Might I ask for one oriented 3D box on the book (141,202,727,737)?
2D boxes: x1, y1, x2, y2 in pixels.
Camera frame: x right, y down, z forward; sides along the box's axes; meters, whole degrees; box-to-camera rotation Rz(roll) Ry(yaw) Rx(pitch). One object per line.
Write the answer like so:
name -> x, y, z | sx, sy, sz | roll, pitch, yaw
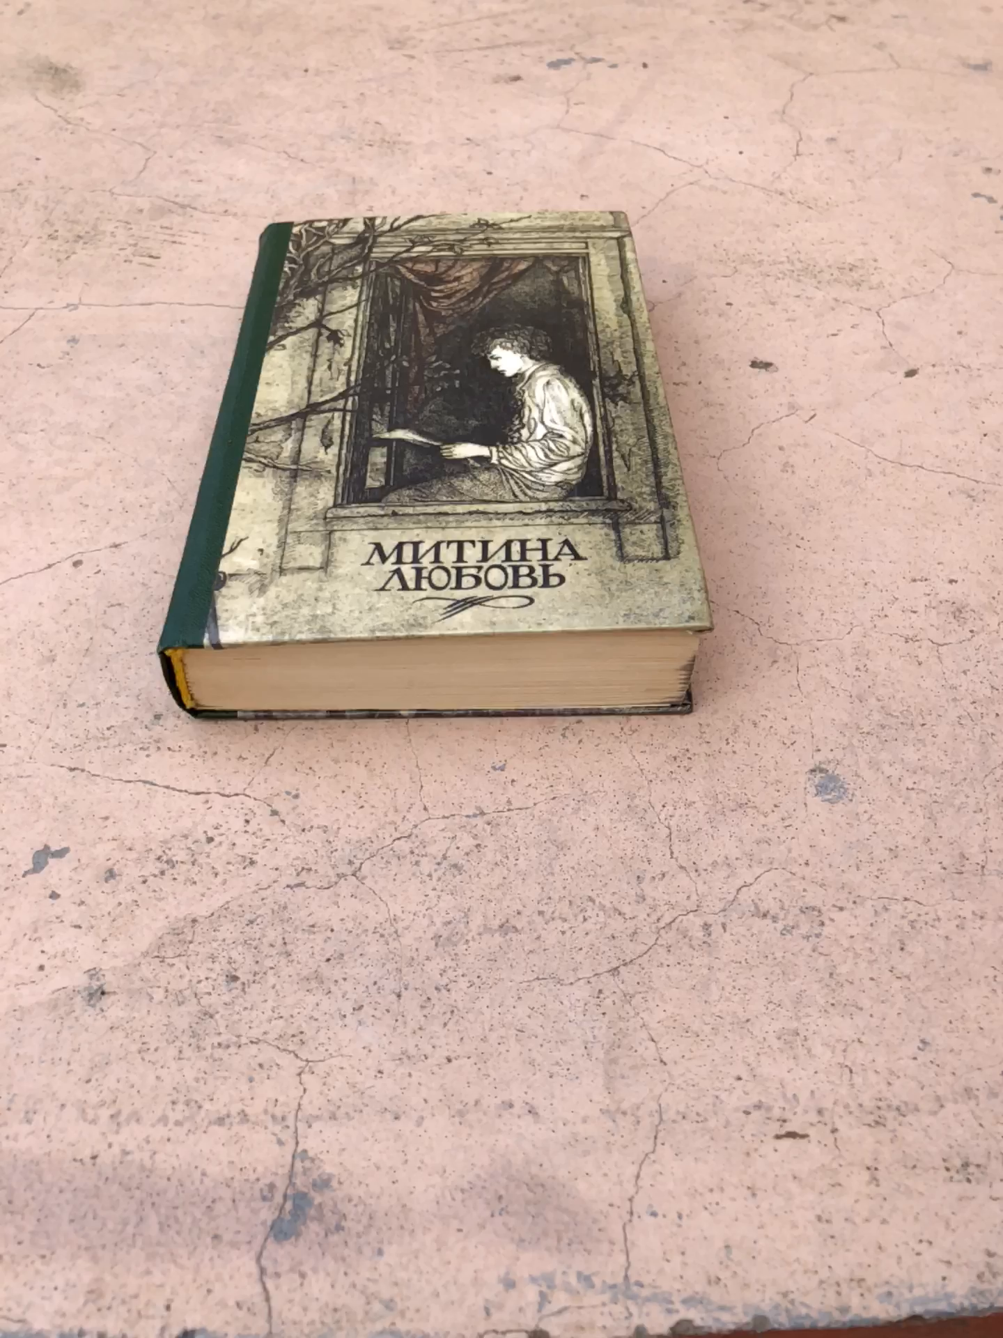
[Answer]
book -> -0.018, -0.075, 0.341 | 0.135, 0.035, 0.214 | -1, 48, -1
